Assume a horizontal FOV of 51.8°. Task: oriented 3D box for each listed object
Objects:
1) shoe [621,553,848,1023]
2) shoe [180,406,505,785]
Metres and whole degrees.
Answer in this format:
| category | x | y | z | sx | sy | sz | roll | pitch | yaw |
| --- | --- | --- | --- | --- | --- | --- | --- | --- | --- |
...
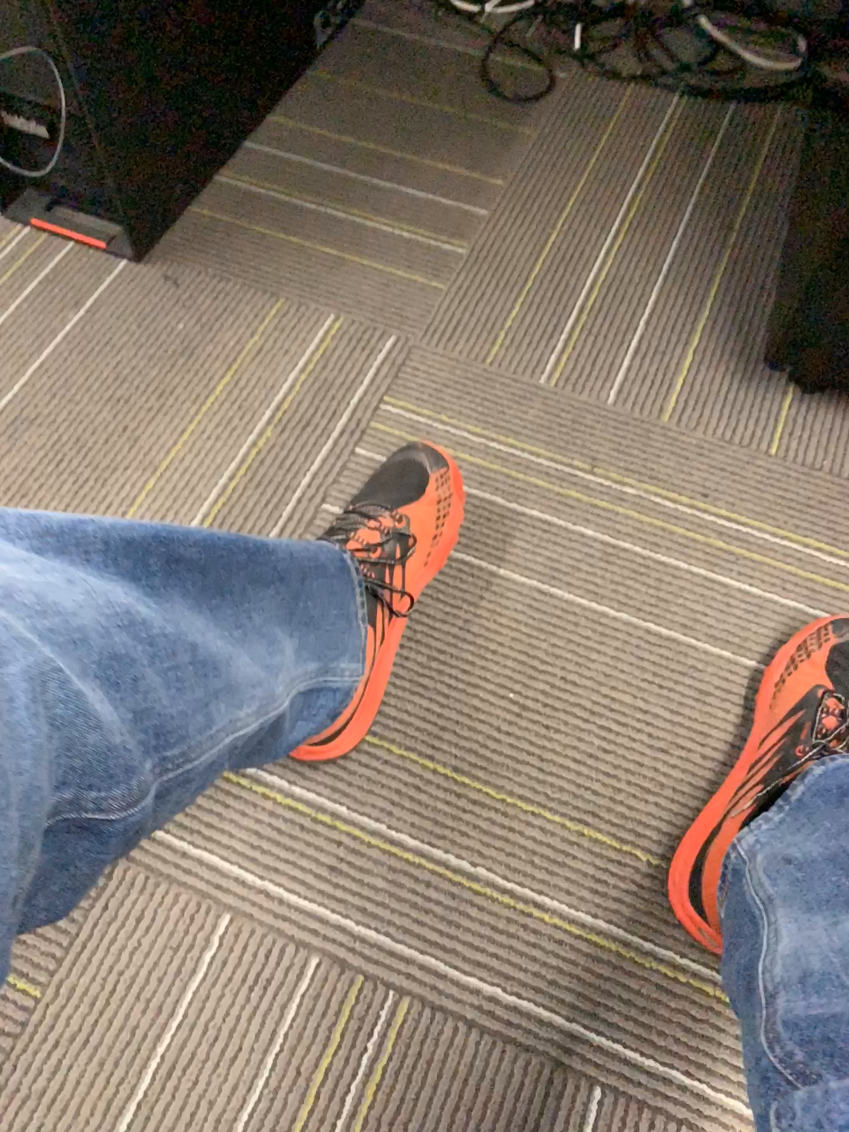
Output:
| category | x | y | z | sx | sy | sz | roll | pitch | yaw |
| --- | --- | --- | --- | --- | --- | --- | --- | --- | --- |
| shoe | 0.291 | 0.158 | 0.666 | 0.140 | 0.090 | 0.302 | 33 | 65 | 4 |
| shoe | -0.056 | 0.011 | 0.743 | 0.132 | 0.090 | 0.305 | 11 | 59 | 28 |
